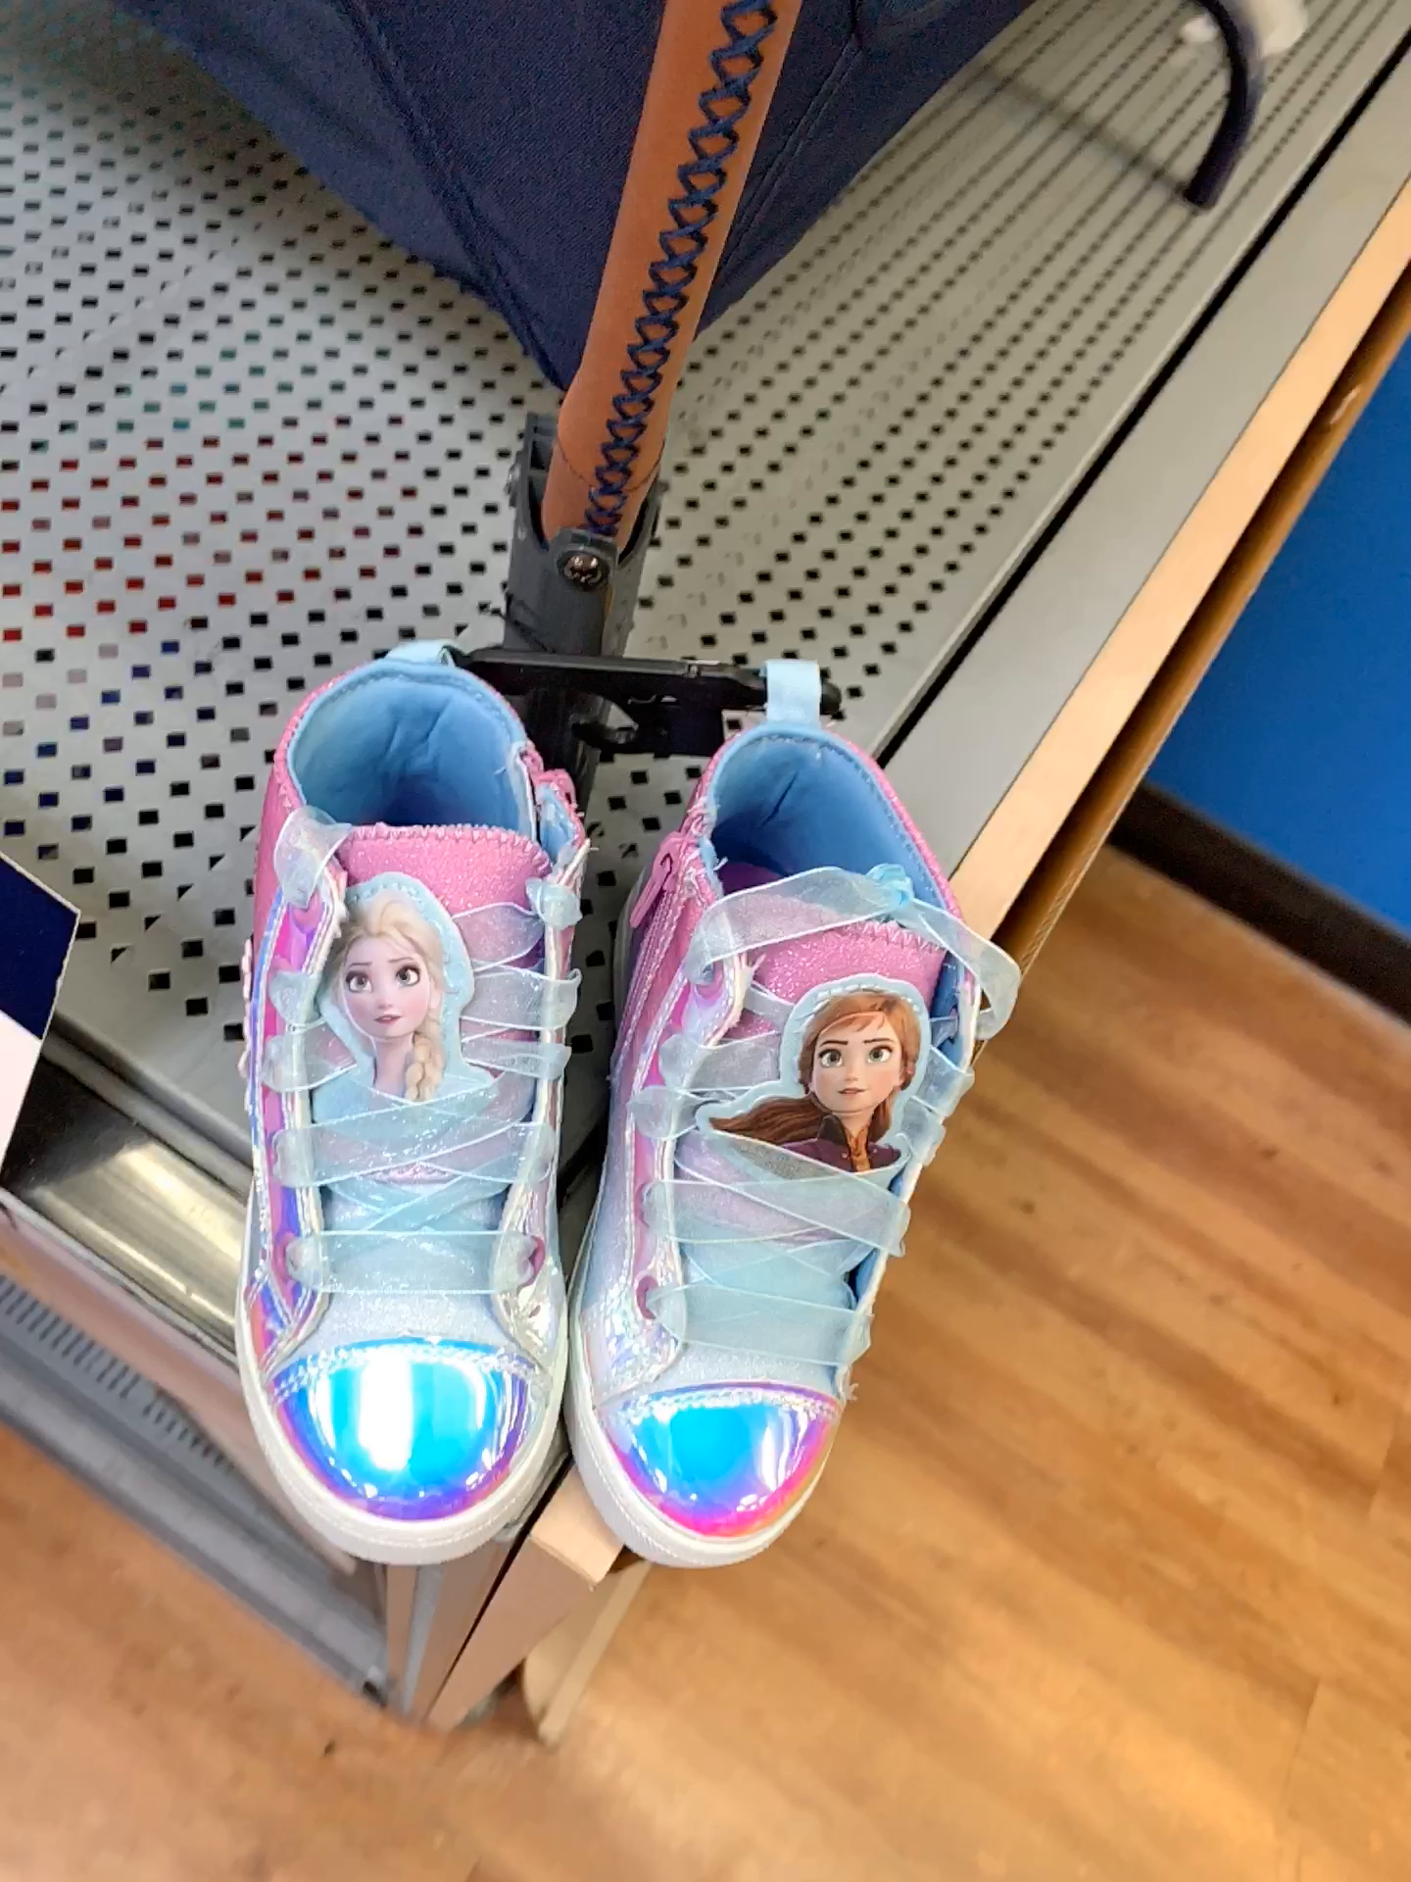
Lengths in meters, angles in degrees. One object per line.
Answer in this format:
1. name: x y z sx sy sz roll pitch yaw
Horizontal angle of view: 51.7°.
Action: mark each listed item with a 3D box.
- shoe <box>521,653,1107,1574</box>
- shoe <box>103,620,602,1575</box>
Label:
1. shoe: 0.013 0.043 0.341 0.089 0.102 0.183 7 59 -15
2. shoe: -0.070 0.036 0.326 0.079 0.102 0.183 3 60 -10
